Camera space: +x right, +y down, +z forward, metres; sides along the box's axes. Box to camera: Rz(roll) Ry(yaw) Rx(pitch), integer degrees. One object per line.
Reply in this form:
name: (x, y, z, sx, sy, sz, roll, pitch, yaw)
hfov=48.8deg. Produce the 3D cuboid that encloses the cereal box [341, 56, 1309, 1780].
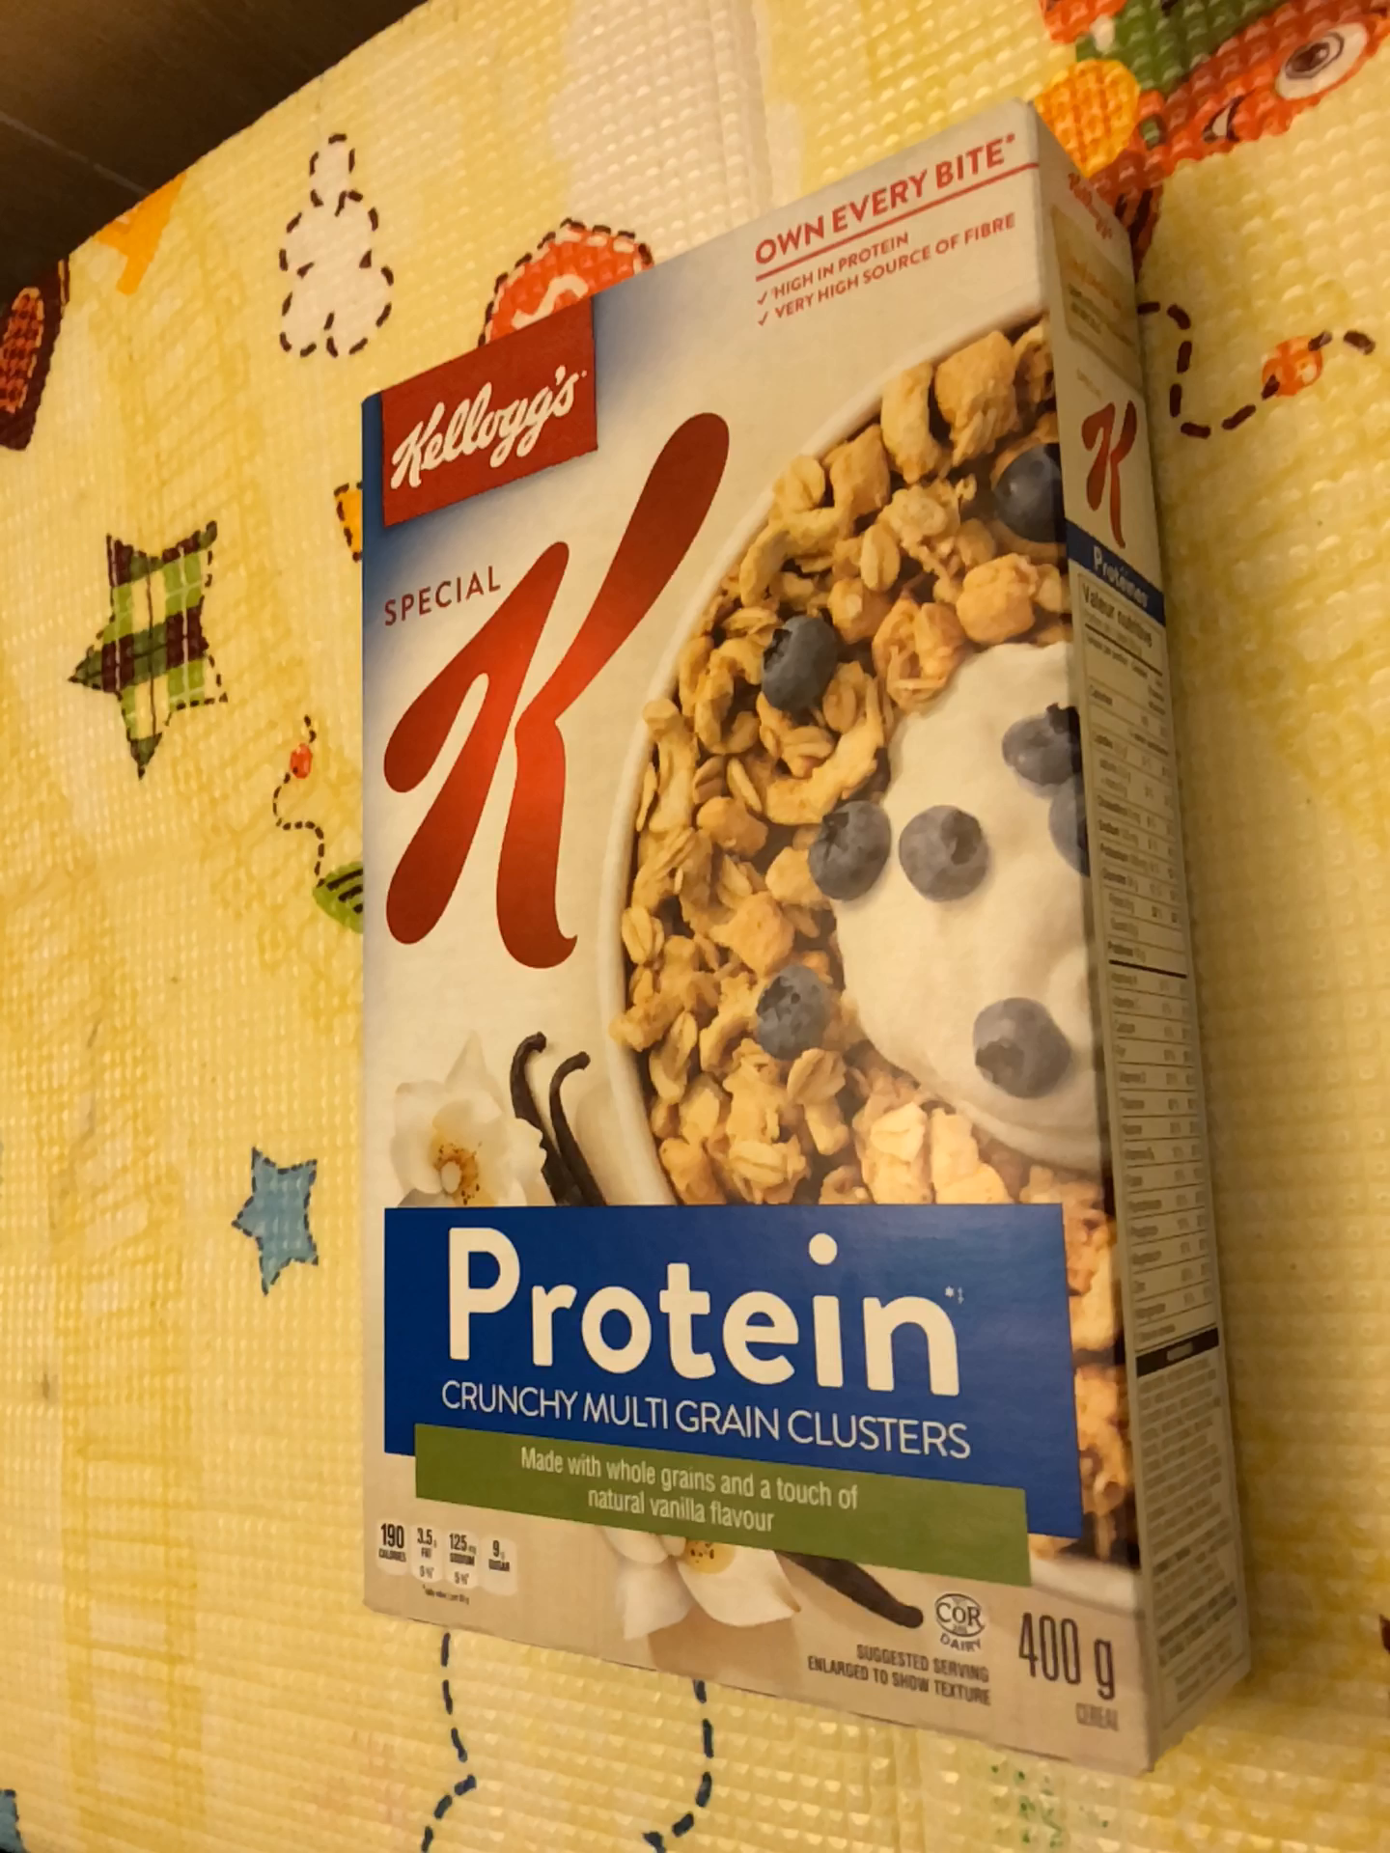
cereal box: (0.014, 0.001, 0.290, 0.161, 0.060, 0.250, -7, 83, 33)
